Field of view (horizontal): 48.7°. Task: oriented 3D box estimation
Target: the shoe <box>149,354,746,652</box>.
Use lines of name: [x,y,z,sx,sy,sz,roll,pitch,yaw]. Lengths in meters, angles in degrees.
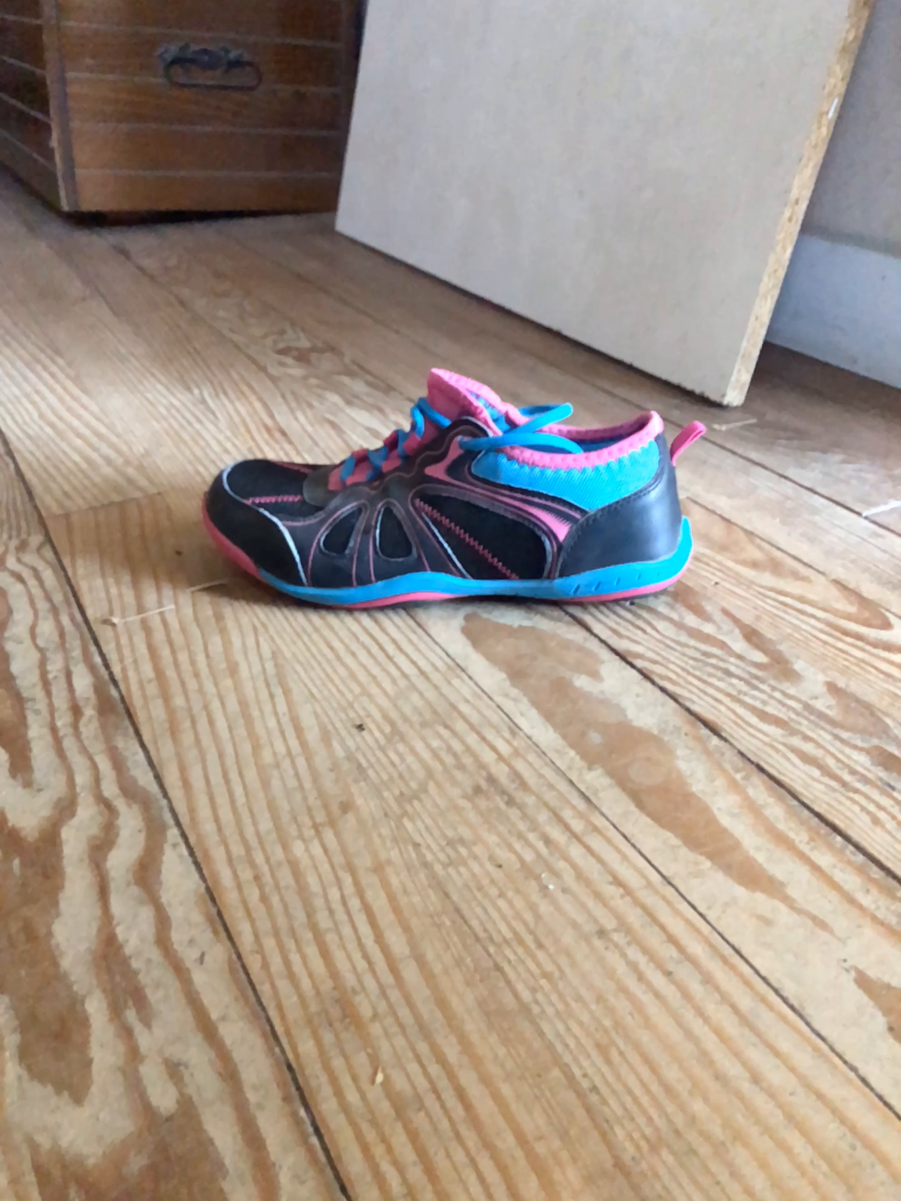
shoe: [0.001,-0.054,0.504,0.260,0.099,0.111,3,32,5]
